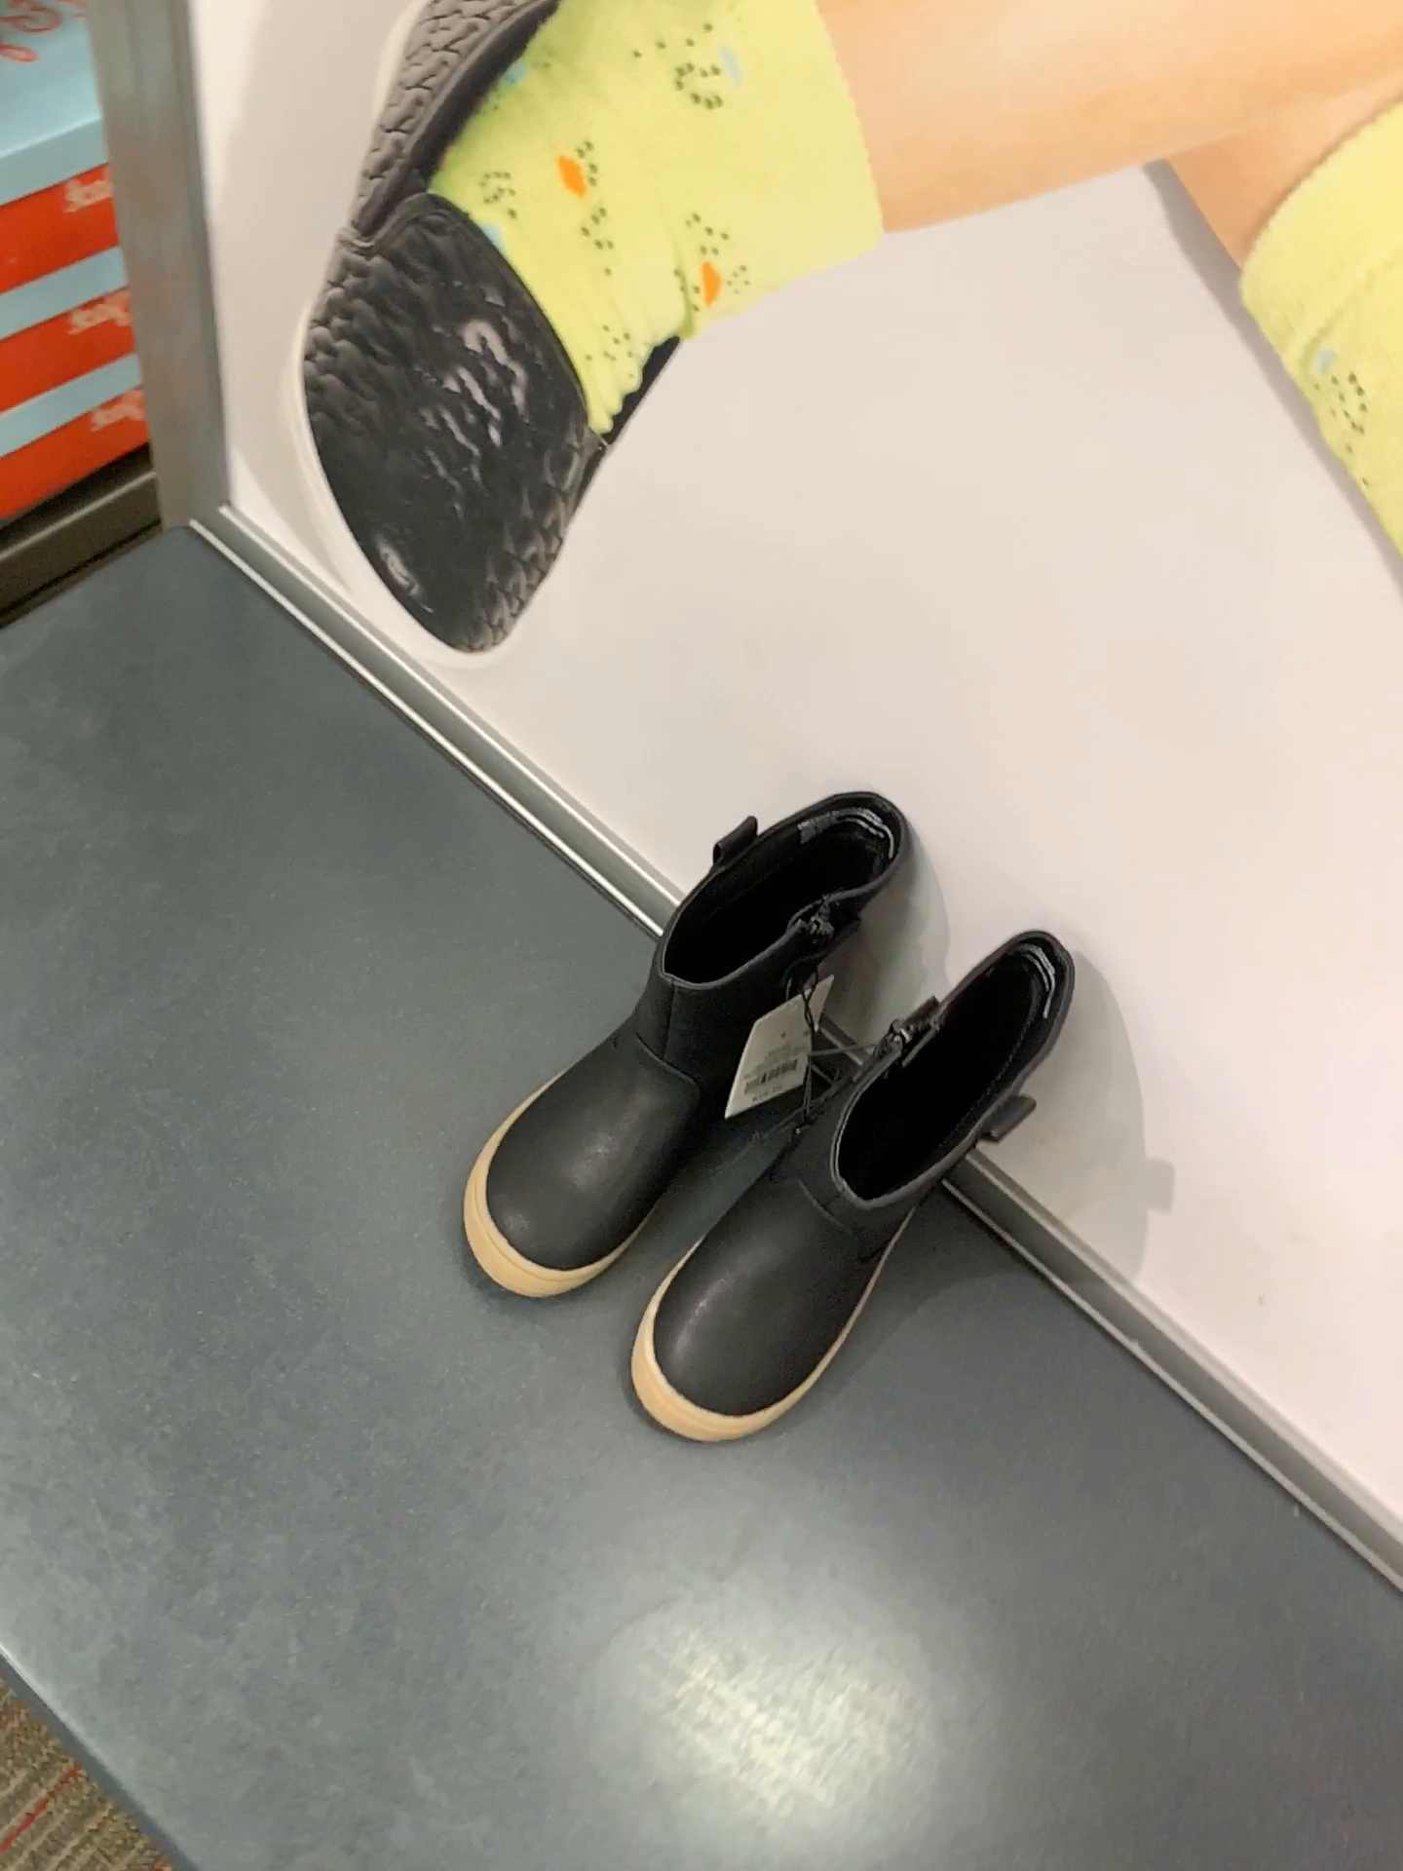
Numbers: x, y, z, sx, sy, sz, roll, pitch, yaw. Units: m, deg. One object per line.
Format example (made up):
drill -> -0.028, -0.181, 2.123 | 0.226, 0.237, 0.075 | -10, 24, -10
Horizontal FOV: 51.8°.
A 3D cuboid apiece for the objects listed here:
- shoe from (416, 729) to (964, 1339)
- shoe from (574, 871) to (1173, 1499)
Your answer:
shoe -> -0.014, 0.048, 0.594 | 0.080, 0.199, 0.190 | 43, 61, 10
shoe -> 0.058, 0.105, 0.567 | 0.080, 0.199, 0.190 | 42, 61, 9
